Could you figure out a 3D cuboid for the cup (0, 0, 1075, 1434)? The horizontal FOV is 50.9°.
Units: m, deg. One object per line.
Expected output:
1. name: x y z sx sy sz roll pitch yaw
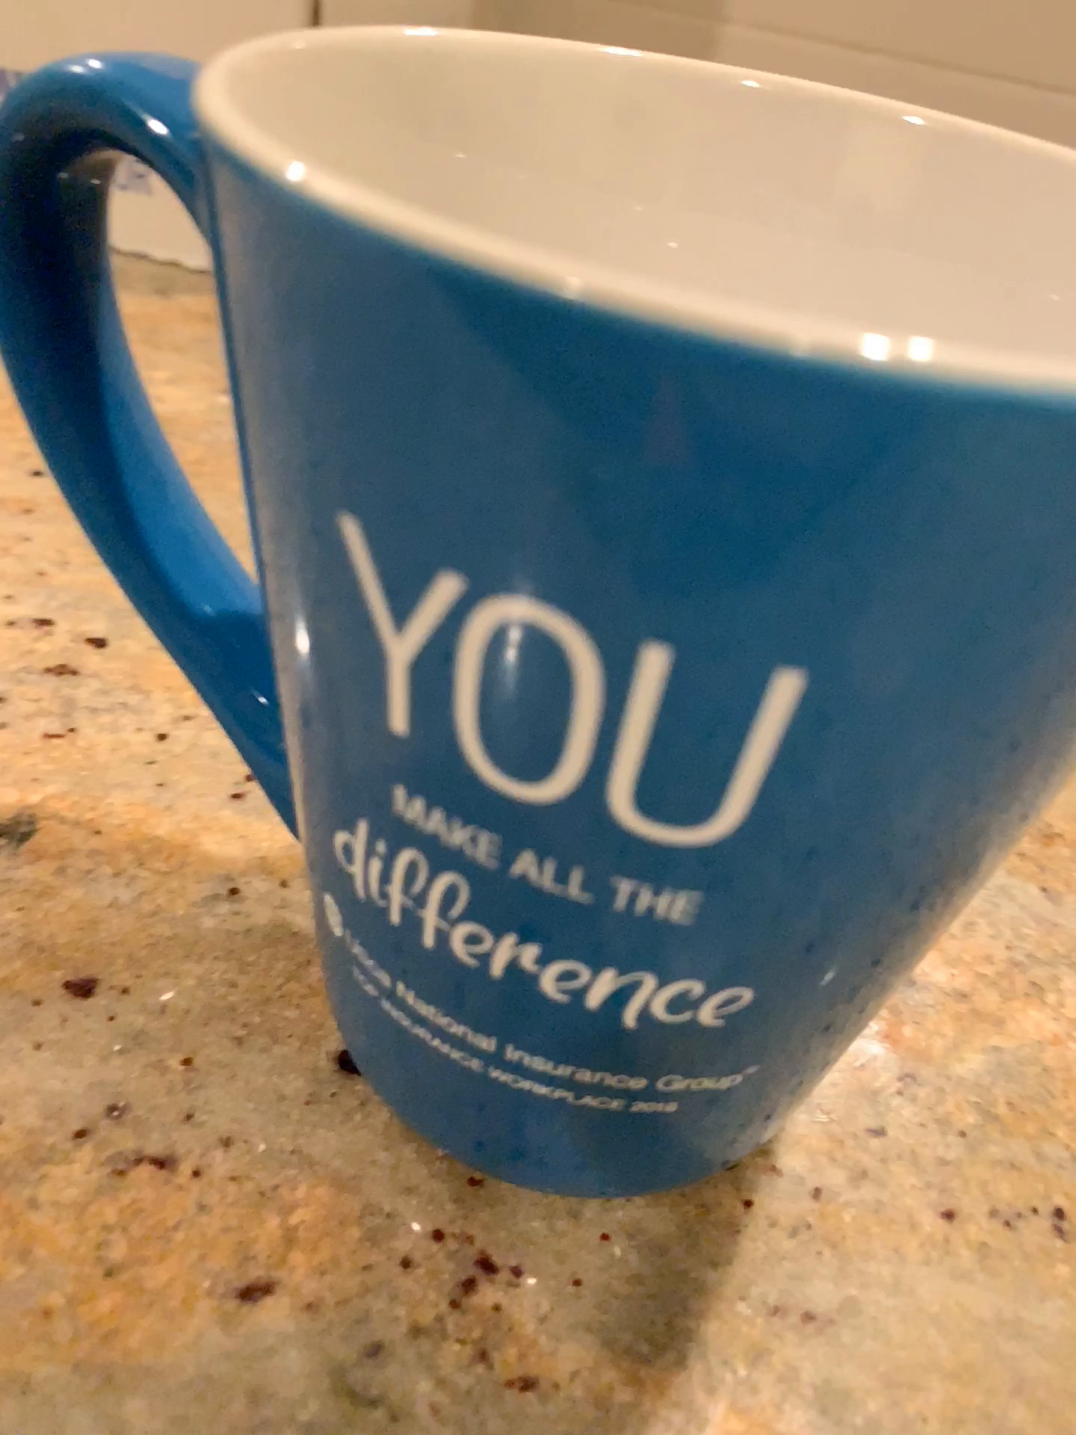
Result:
1. cup: -0.004 -0.015 0.128 0.137 0.098 0.099 14 37 8
